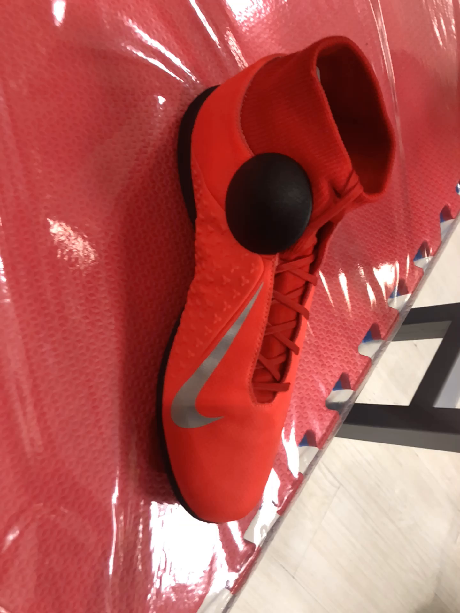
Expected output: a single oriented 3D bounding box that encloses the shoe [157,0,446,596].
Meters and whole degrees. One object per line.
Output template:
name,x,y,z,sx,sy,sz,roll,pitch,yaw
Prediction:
shoe,0.032,-0.005,0.280,0.090,0.119,0.250,7,80,-35
